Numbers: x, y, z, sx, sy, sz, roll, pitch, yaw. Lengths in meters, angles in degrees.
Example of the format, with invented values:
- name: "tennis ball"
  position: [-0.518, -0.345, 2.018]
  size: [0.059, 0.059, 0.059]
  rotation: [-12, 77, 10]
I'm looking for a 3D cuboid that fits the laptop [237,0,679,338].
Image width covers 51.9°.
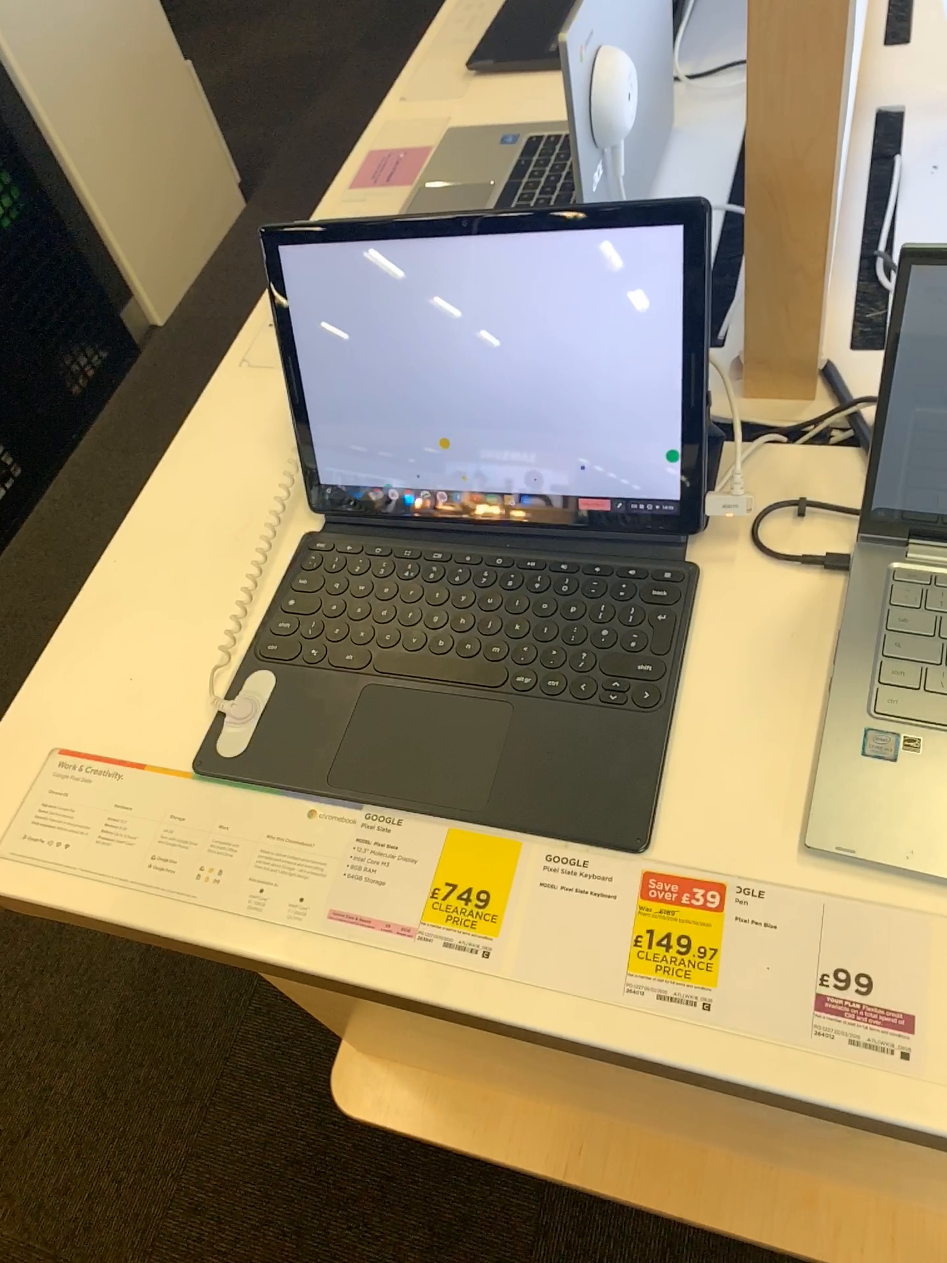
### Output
- name: "laptop"
  position: [0.017, -0.442, 0.802]
  size: [0.233, 0.222, 0.321]
  rotation: [7, 57, 19]

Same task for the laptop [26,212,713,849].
- name: "laptop"
  position: [-0.024, -0.070, 0.575]
  size: [0.285, 0.187, 0.294]
  rotation: [6, 56, 19]
